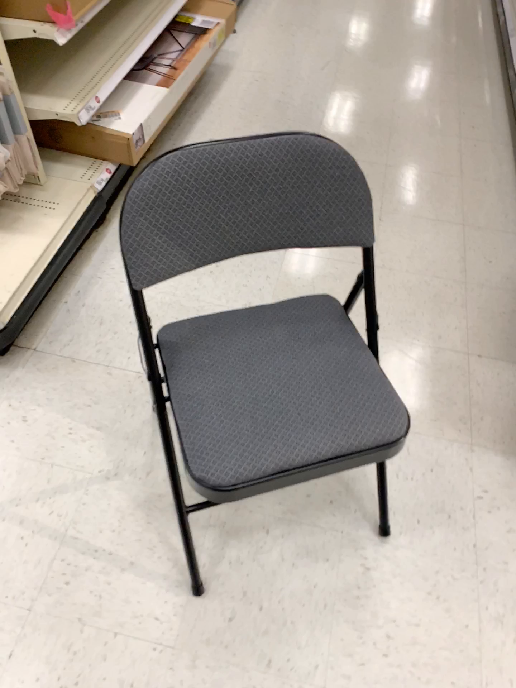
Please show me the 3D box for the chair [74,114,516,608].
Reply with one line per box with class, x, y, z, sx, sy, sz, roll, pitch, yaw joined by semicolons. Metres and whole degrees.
chair;0.012;0.057;0.988;0.500;0.677;0.552;-12;54;-13
